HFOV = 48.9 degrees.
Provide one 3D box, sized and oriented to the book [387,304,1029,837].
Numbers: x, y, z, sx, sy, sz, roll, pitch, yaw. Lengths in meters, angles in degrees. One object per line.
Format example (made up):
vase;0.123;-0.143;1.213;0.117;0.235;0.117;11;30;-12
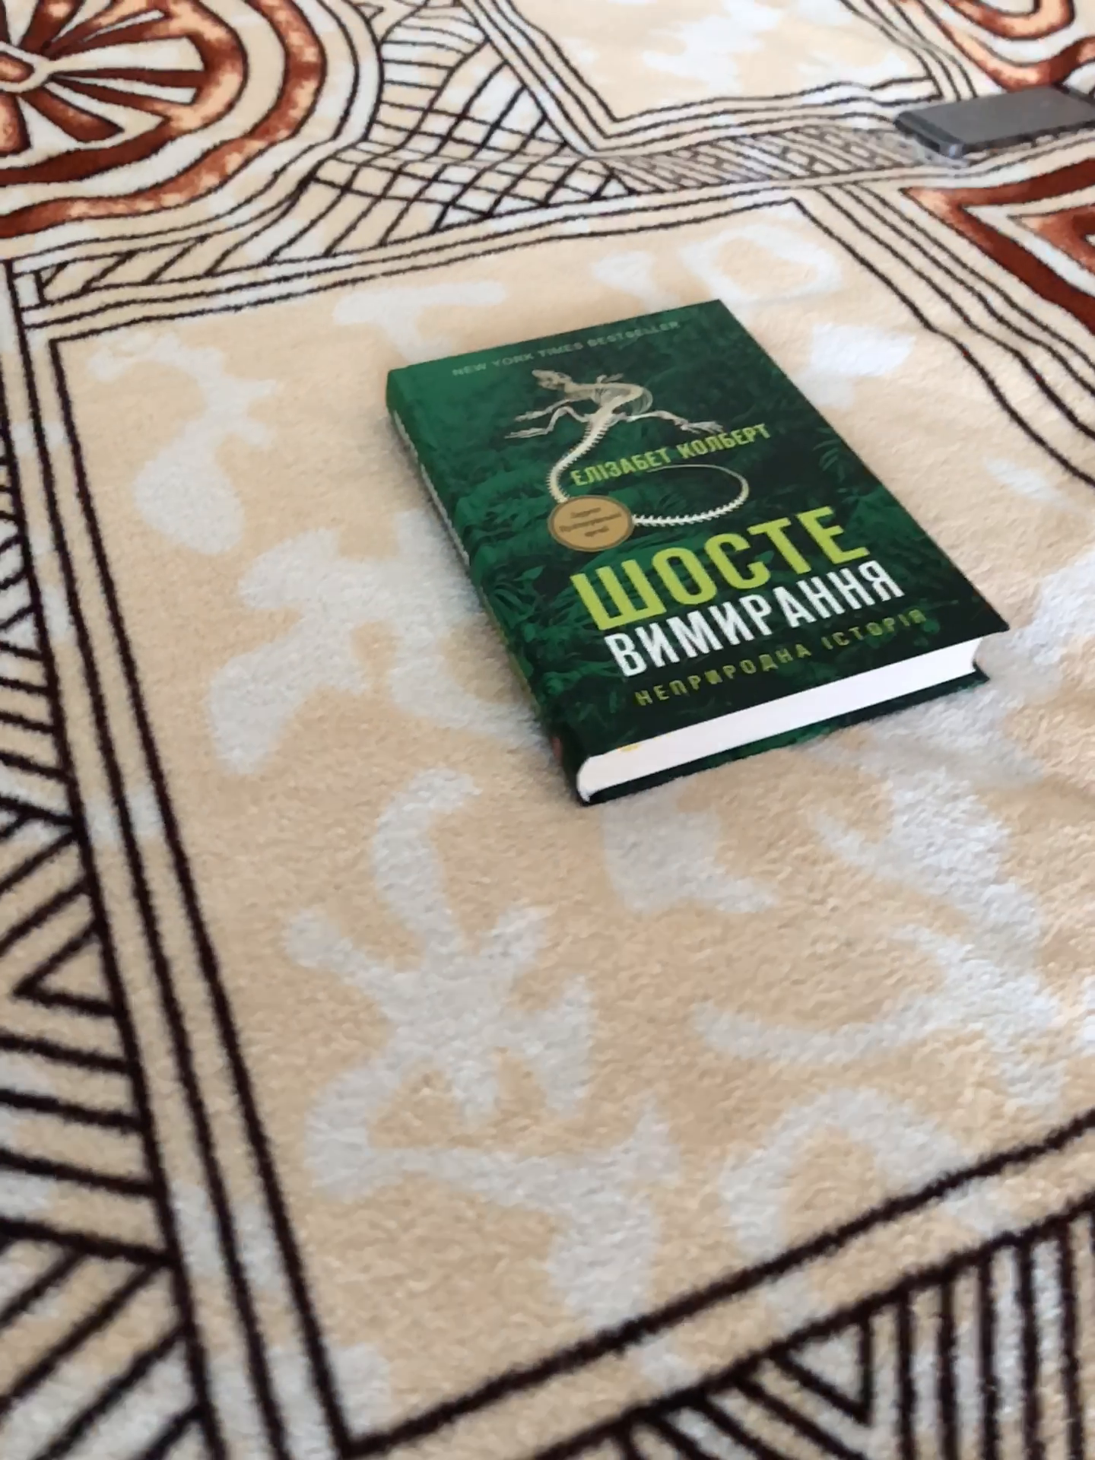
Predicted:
book;0.044;-0.075;0.444;0.150;0.030;0.221;-16;50;-12
